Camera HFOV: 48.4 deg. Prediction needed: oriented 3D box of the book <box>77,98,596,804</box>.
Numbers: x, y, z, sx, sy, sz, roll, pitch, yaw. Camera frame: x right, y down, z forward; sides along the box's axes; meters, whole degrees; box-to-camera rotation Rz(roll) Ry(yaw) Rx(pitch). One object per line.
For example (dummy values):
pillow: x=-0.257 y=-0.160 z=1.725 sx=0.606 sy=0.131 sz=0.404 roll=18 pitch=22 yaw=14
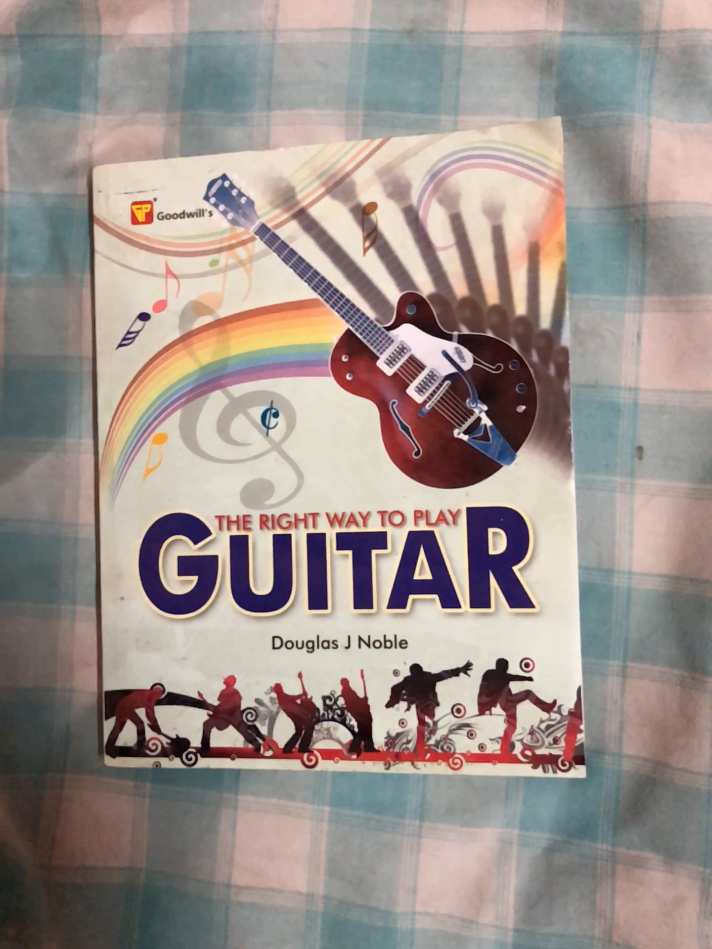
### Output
book: x=-0.011 y=-0.007 z=0.296 sx=0.180 sy=0.030 sz=0.240 roll=-2 pitch=87 yaw=8
